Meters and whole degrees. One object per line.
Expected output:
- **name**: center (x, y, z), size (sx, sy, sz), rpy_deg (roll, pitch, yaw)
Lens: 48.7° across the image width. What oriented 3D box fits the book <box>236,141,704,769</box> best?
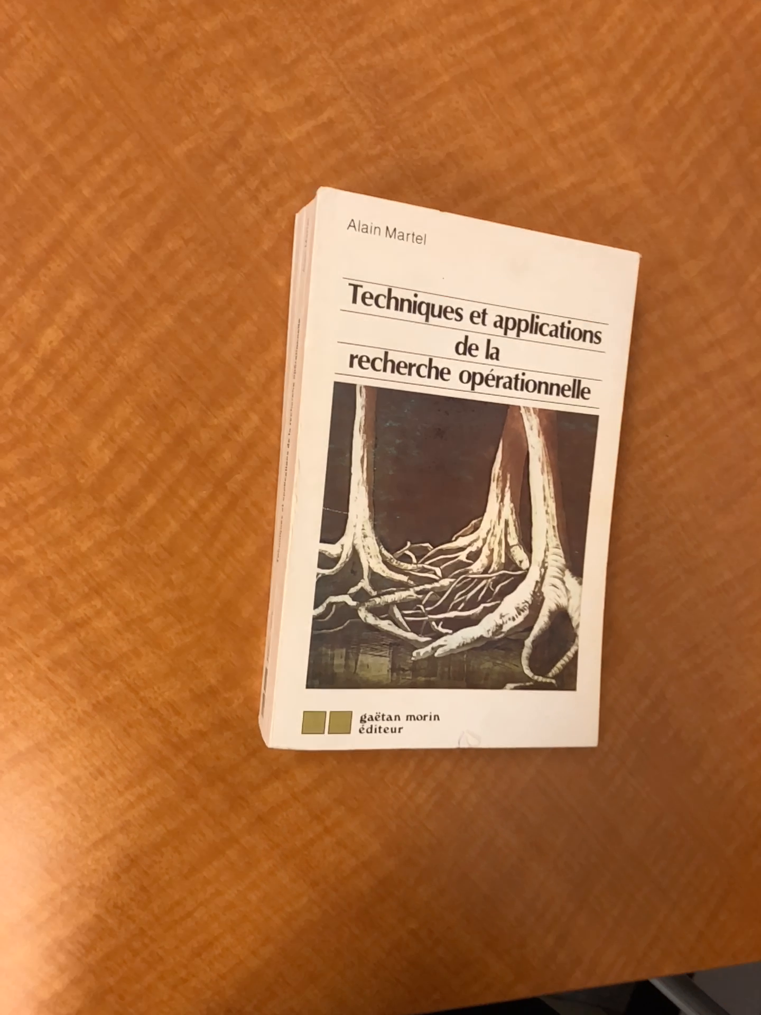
- **book**: center (0.037, -0.014, 0.369), size (0.170, 0.070, 0.230), rpy_deg (4, 92, -19)
